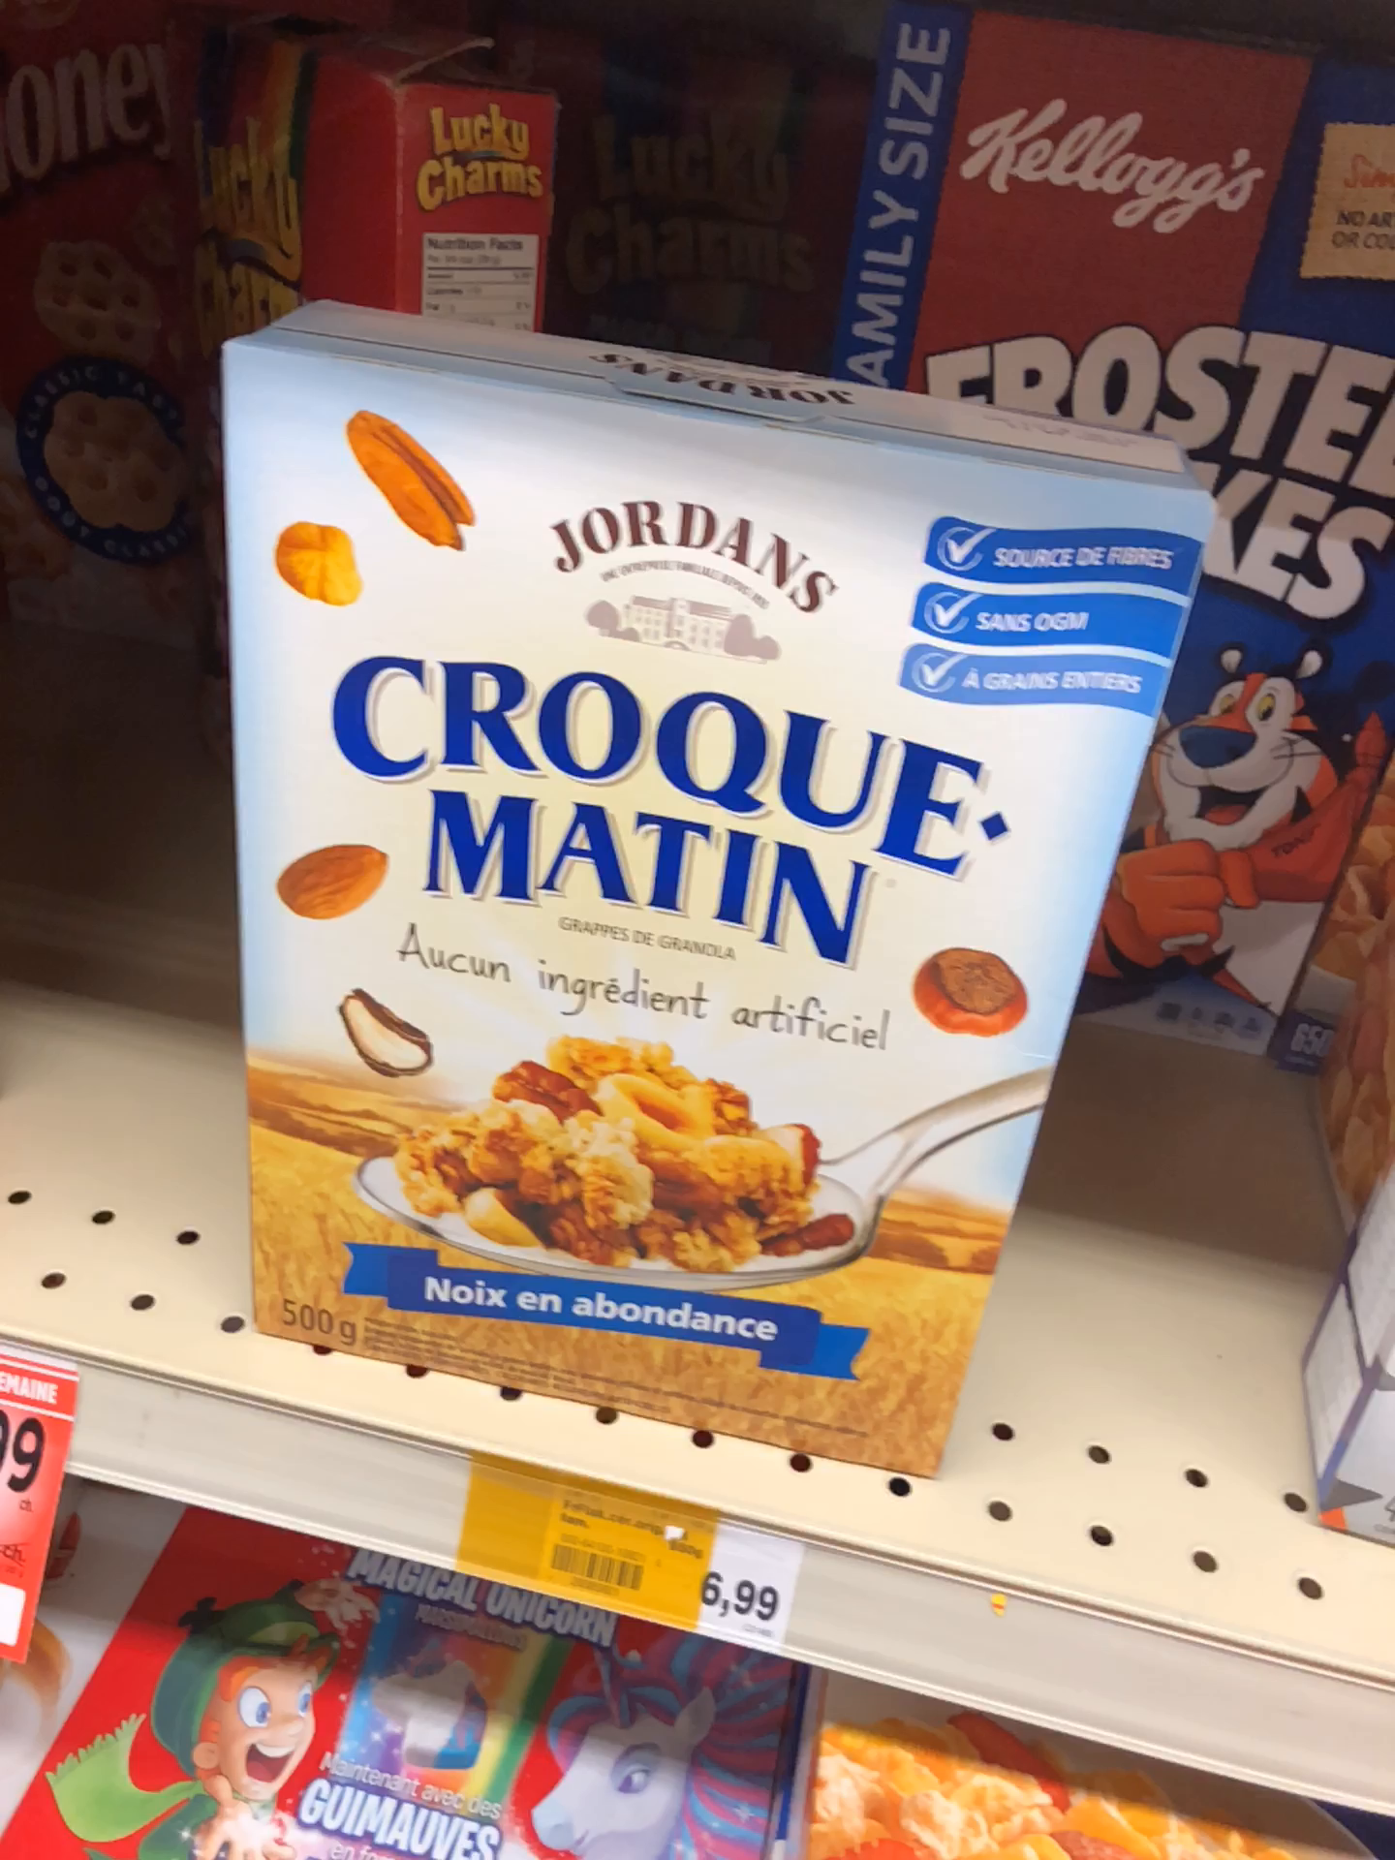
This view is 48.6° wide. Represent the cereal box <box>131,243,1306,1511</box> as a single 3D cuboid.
[{"bbox_3d":[-0.011,0.004,0.346,0.200,0.258,0.050,11,31,4],"label":"cereal box"}]
